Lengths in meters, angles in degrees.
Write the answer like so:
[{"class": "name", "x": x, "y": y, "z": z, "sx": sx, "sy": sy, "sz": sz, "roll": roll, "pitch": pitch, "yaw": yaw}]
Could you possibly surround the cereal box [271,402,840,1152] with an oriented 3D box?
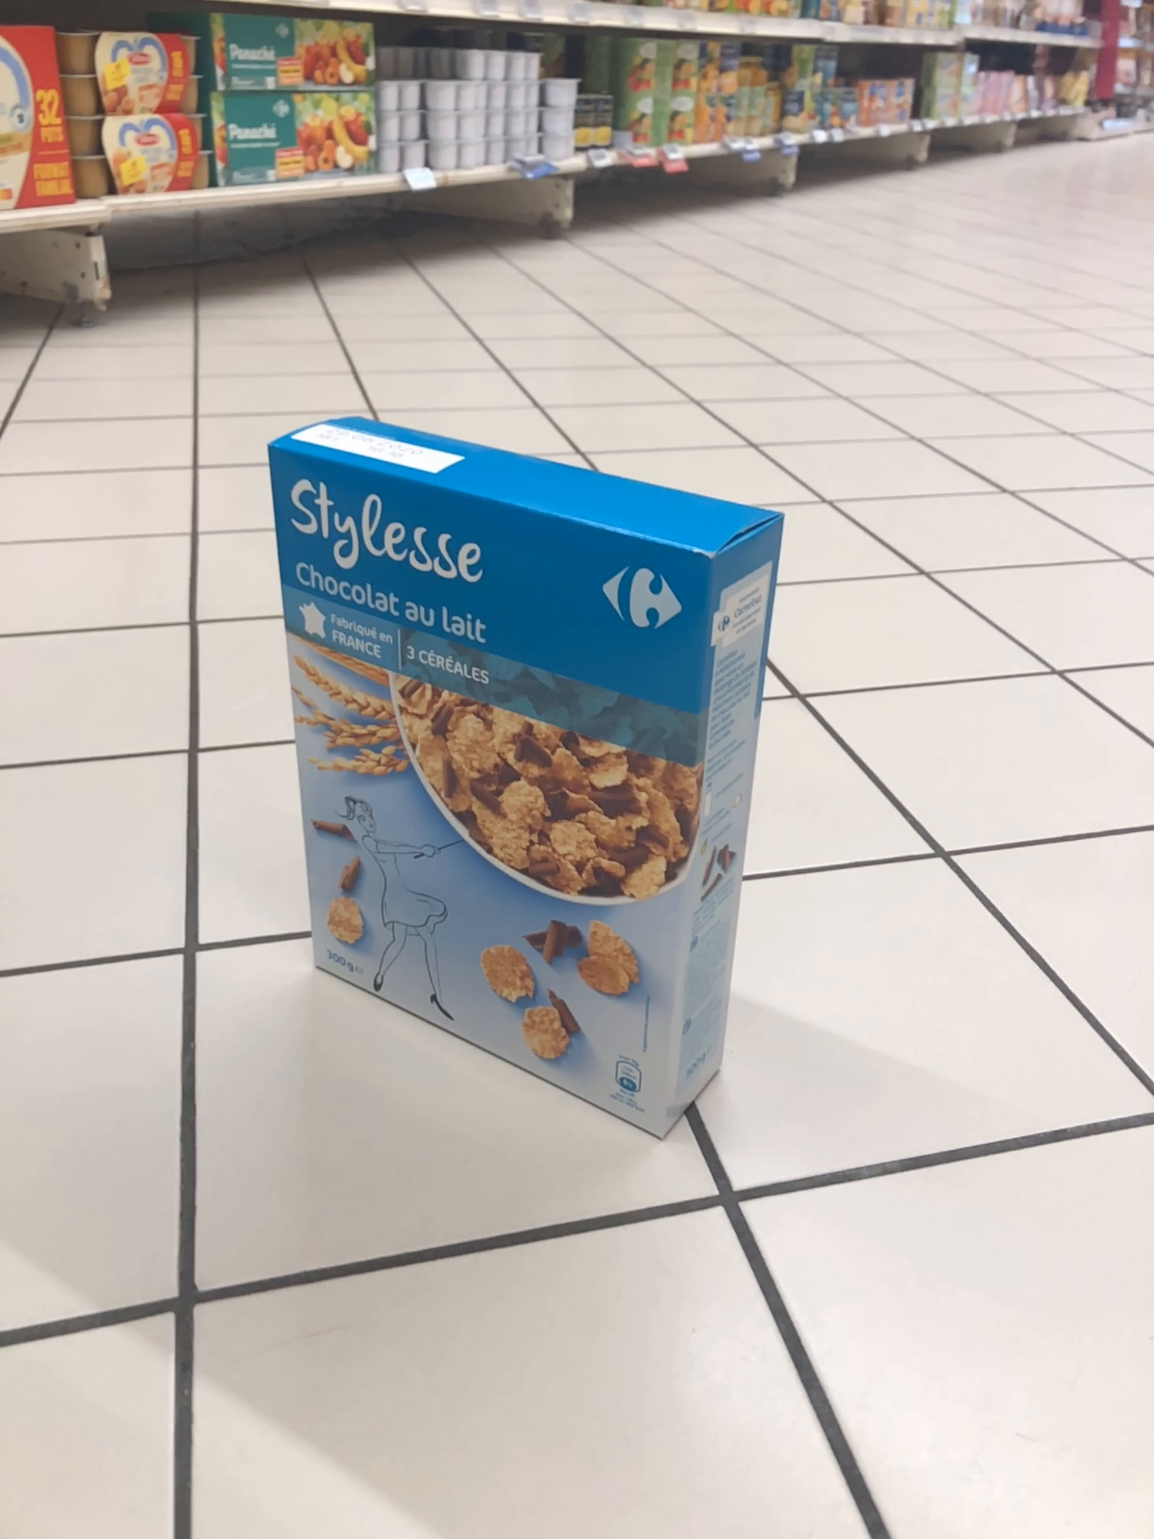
[{"class": "cereal box", "x": -0.017, "y": -0.001, "z": 0.516, "sx": 0.200, "sy": 0.248, "sz": 0.070, "roll": 19, "pitch": 33, "yaw": 28}]
